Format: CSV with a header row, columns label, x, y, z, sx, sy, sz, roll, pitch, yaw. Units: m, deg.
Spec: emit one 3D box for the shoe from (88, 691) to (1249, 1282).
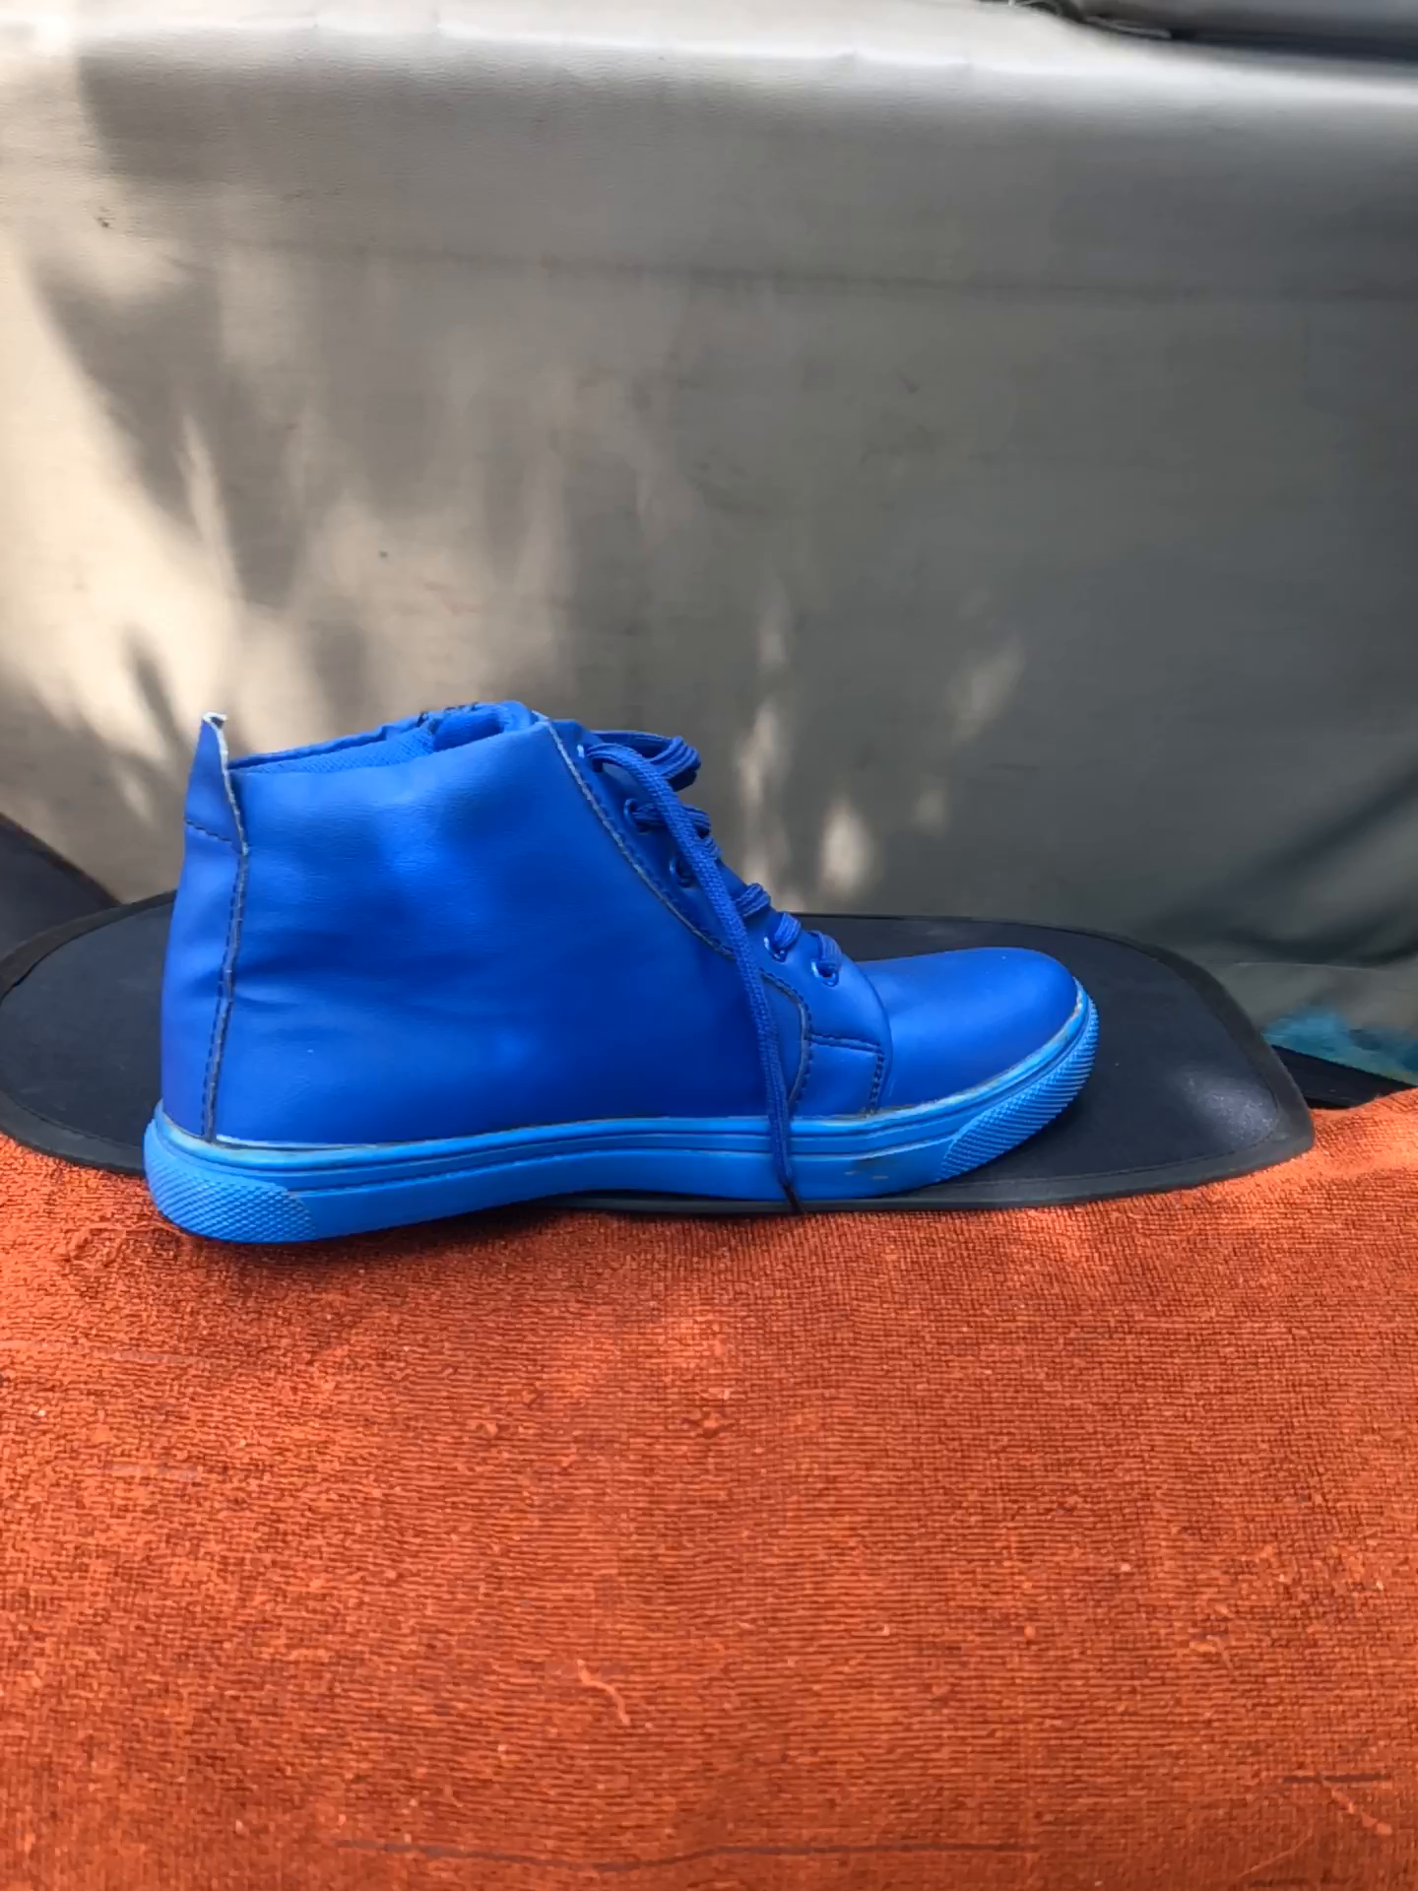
label,x,y,z,sx,sy,sz,roll,pitch,yaw
shoe,-0.016,-0.004,0.465,0.300,0.120,0.130,-3,20,-18
